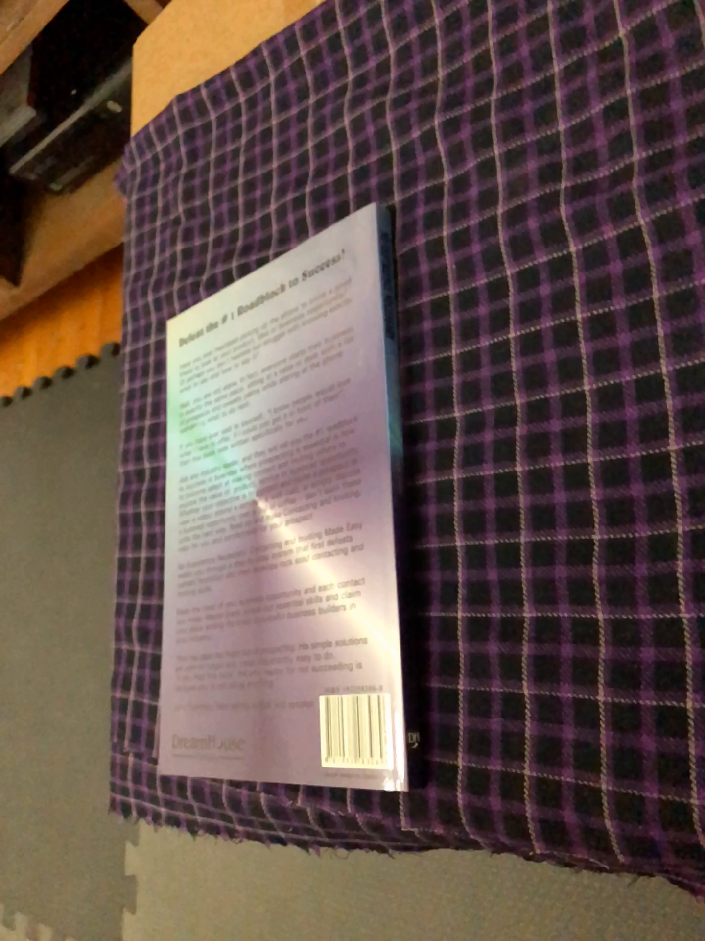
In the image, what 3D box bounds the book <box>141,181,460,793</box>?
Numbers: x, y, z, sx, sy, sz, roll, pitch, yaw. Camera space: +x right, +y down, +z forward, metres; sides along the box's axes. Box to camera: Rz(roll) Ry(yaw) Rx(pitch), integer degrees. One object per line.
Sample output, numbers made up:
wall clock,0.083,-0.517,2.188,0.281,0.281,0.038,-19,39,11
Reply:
book,-0.035,0.013,0.334,0.160,0.020,0.220,-17,70,41
